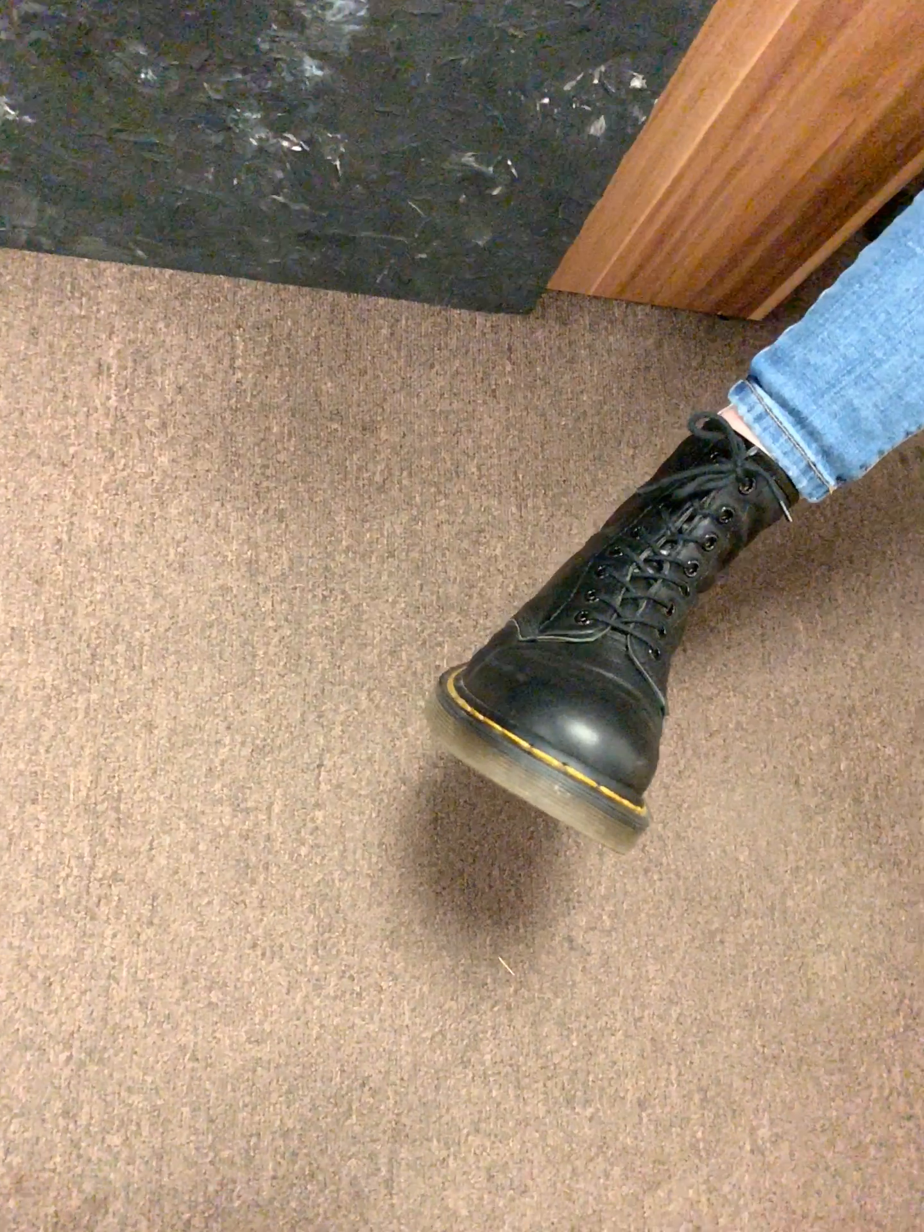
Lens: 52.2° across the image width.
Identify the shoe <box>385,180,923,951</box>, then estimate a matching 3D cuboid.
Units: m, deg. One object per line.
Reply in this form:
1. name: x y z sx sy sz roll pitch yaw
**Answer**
1. shoe: 0.090 -0.040 0.494 0.120 0.370 0.230 36 98 -6
